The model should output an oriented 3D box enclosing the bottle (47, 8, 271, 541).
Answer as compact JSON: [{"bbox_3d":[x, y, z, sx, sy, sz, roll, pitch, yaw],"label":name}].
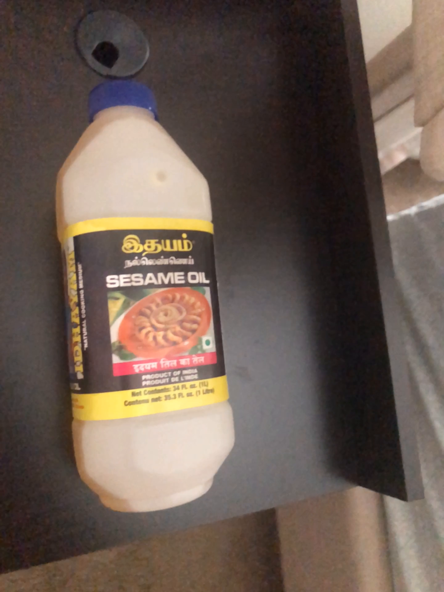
[{"bbox_3d":[-0.045,-0.013,0.288,0.090,0.090,0.250,-3,83,-23],"label":"bottle"}]
